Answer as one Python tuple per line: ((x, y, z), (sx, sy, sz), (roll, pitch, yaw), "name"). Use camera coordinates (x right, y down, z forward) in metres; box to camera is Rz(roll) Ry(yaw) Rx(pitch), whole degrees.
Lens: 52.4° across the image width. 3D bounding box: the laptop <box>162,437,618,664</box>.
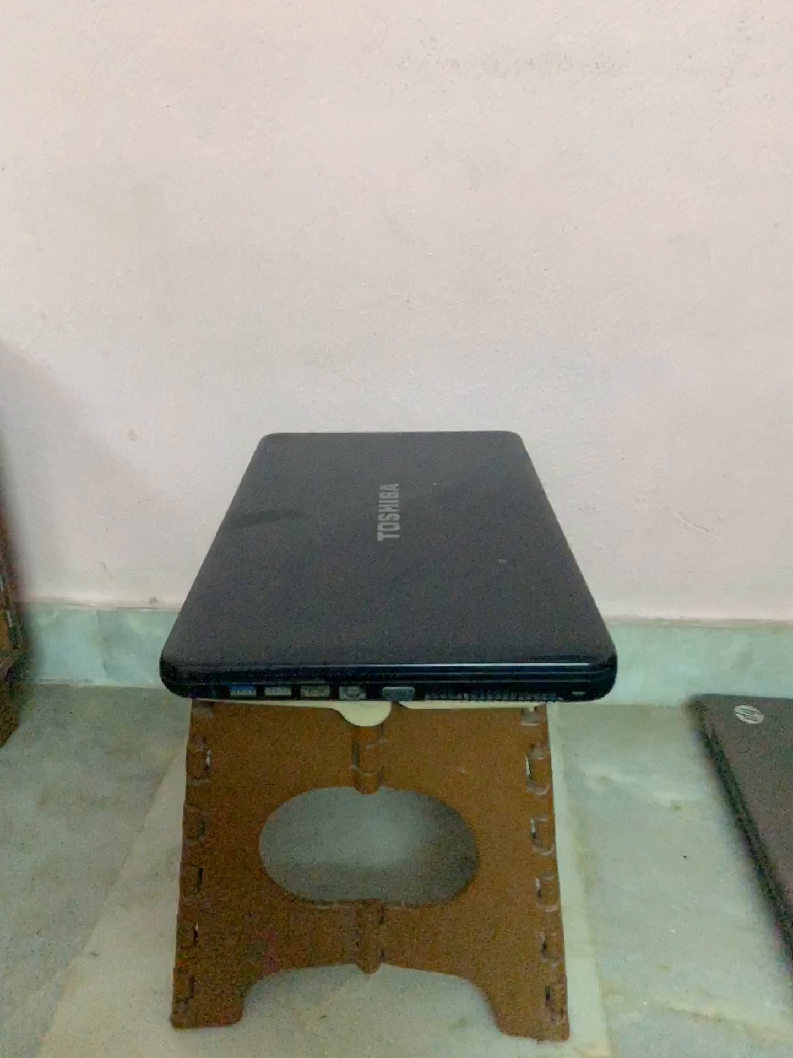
((-0.004, -0.008, 0.585), (0.236, 0.001, 0.370), (0, 25, 0), "laptop")
